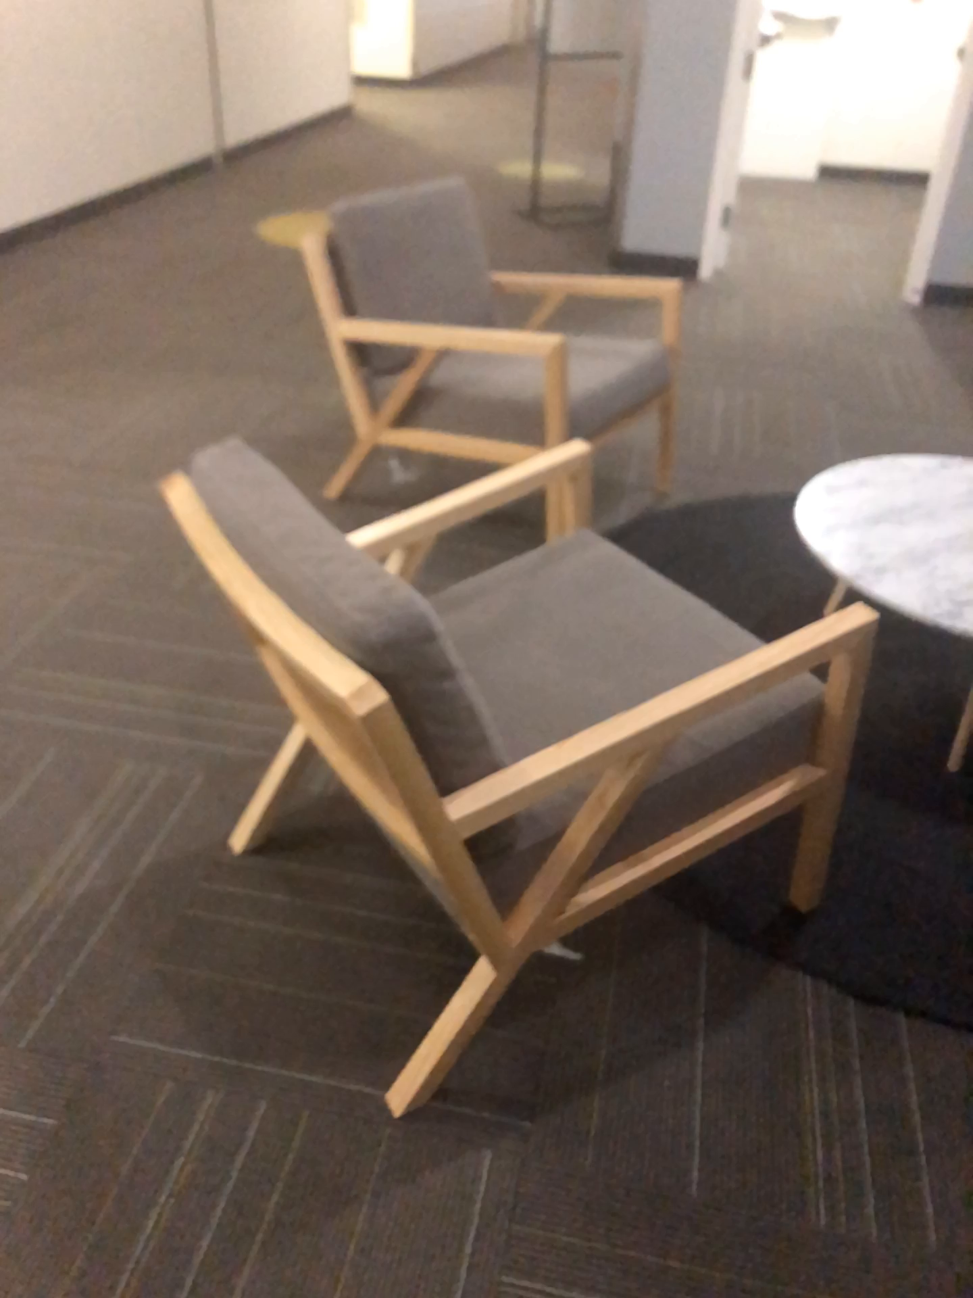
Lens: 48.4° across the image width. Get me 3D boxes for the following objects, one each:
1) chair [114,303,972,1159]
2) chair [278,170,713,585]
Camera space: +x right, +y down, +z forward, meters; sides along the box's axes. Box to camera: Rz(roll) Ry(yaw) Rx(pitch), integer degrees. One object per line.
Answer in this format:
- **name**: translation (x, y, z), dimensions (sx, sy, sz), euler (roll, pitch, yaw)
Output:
- **chair**: translation (0.064, 0.040, 1.640), dimensions (0.874, 0.753, 0.723), euler (-22, 41, -25)
- **chair**: translation (0.043, -0.758, 2.841), dimensions (0.800, 0.773, 0.726), euler (18, 36, 27)
